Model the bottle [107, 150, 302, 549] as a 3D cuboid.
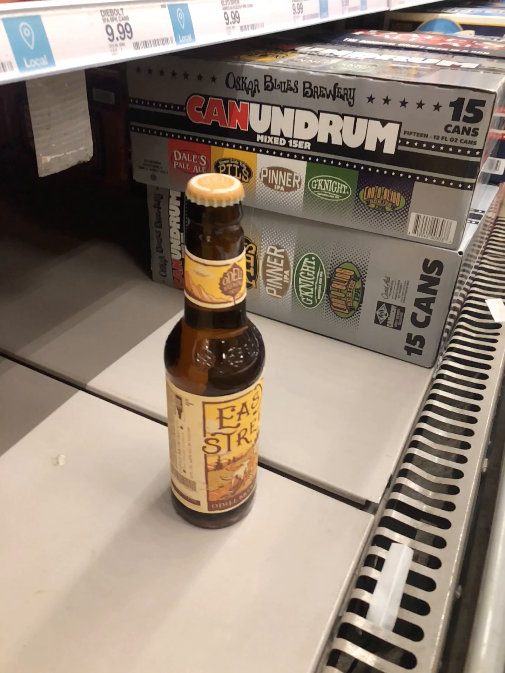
[{"bbox_3d":[-0.028,0.017,0.338,0.070,0.229,0.066,2,34,-1],"label":"bottle"}]
